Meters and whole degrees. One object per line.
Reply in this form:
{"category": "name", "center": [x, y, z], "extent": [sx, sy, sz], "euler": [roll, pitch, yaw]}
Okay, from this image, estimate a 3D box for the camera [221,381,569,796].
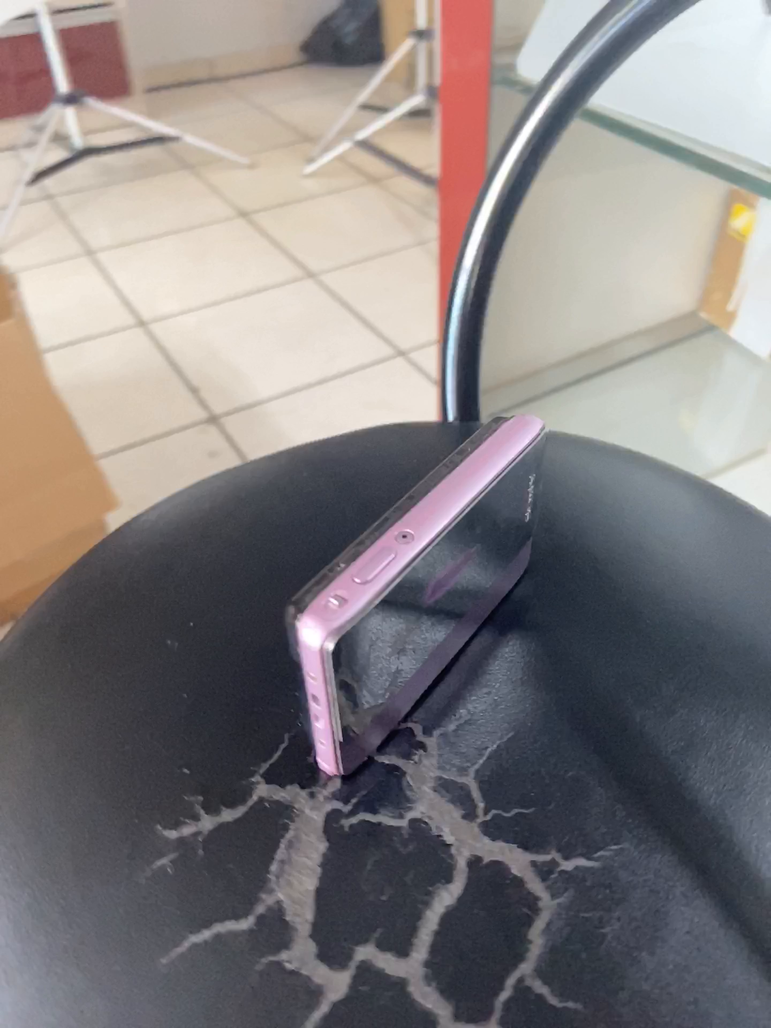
{"category": "camera", "center": [0.008, 0.014, 0.209], "extent": [0.030, 0.050, 0.100], "euler": [26, 50, 27]}
